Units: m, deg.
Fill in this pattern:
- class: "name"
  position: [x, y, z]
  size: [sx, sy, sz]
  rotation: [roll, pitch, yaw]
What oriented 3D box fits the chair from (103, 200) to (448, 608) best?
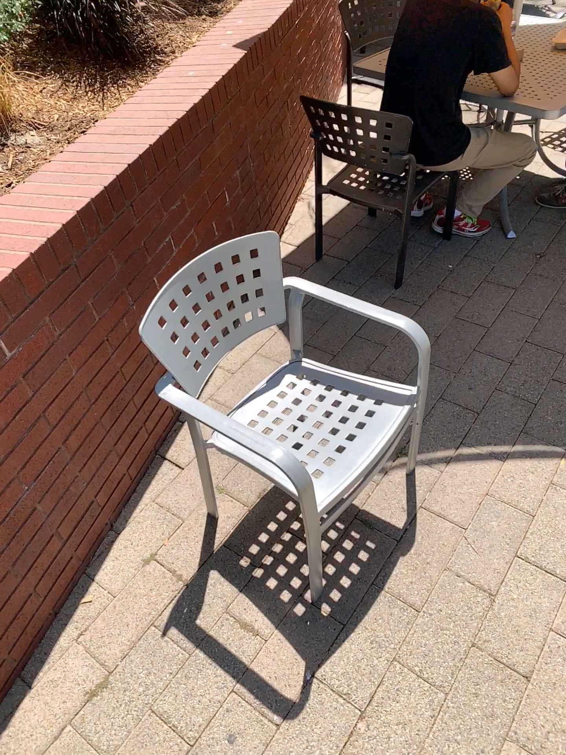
- class: "chair"
  position: [0.033, 0.059, 1.474]
  size: [0.493, 0.718, 0.558]
  rotation: [23, 52, 29]
